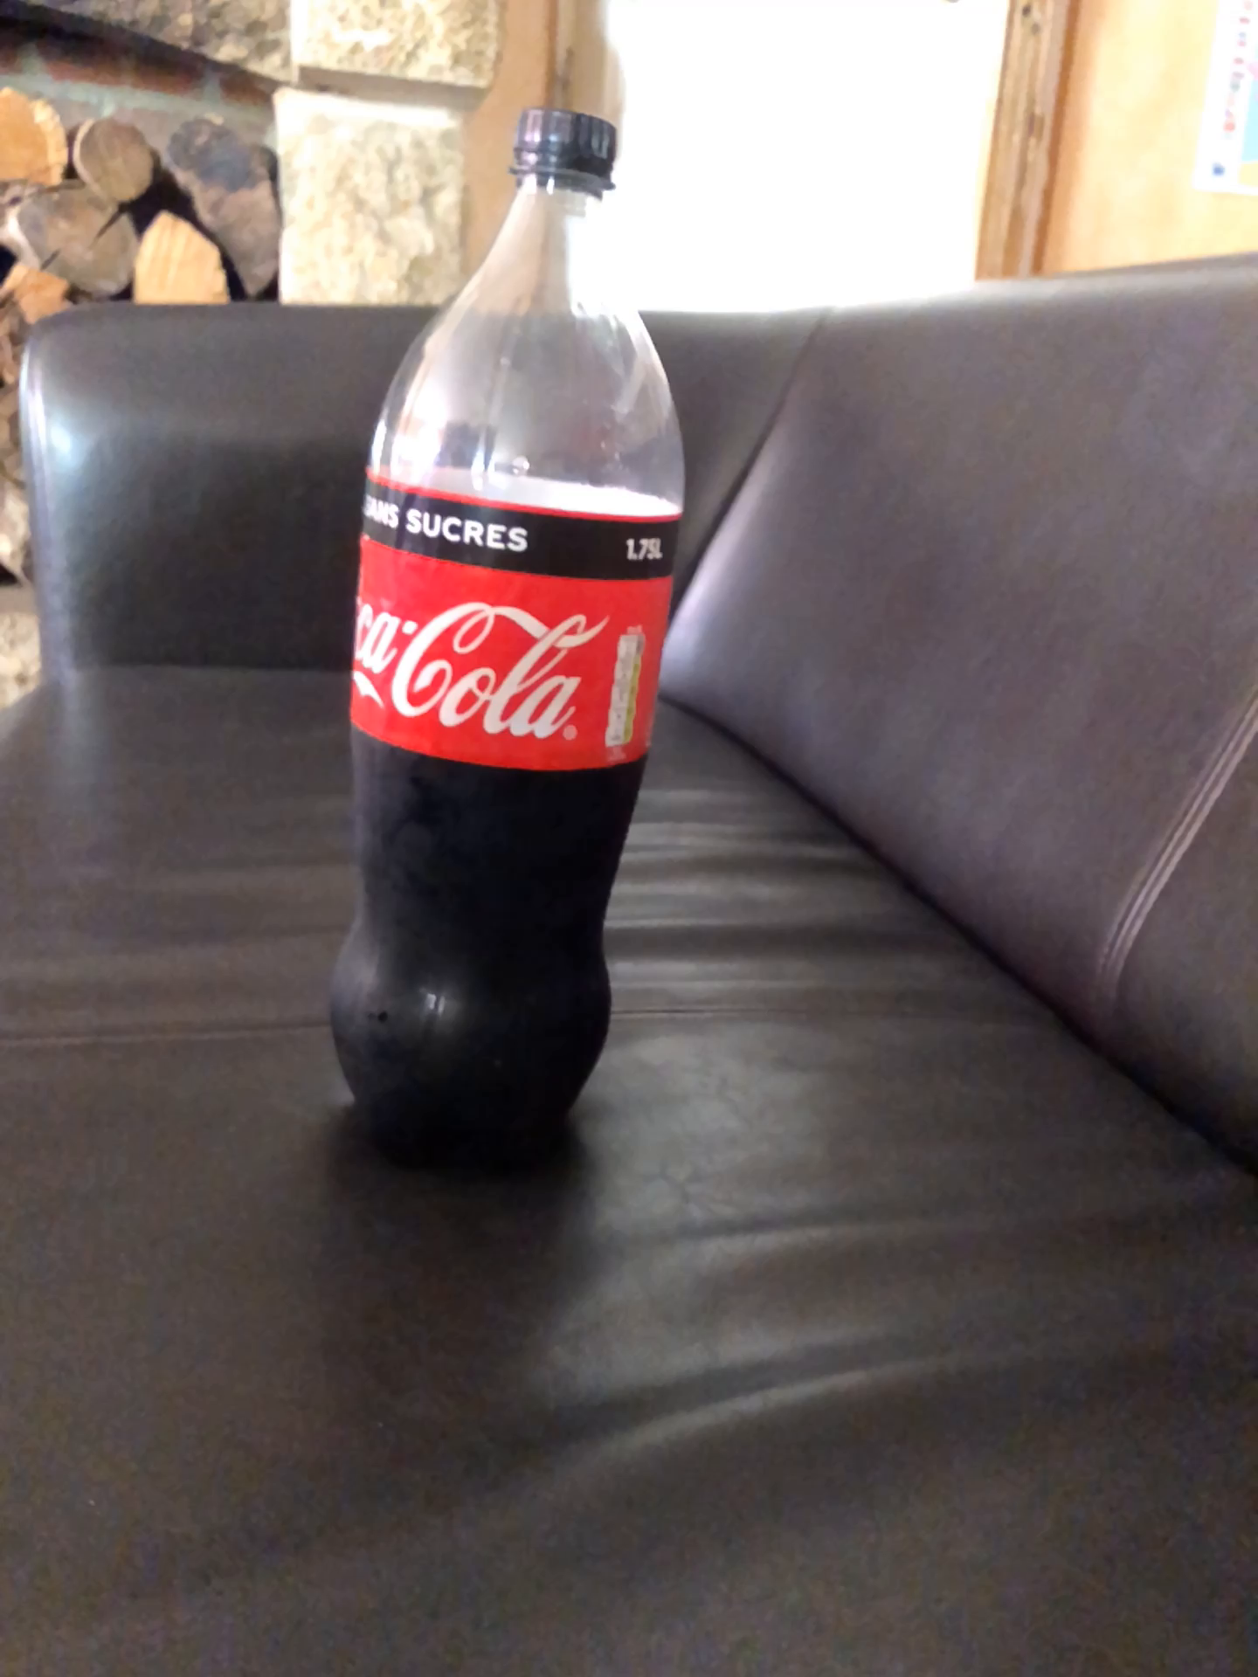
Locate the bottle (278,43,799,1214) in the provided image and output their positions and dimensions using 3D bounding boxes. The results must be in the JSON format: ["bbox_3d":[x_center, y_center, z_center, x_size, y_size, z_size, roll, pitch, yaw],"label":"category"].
[{"bbox_3d":[-0.035,-0.060,0.441,0.100,0.319,0.101,5,18,-2],"label":"bottle"}]
